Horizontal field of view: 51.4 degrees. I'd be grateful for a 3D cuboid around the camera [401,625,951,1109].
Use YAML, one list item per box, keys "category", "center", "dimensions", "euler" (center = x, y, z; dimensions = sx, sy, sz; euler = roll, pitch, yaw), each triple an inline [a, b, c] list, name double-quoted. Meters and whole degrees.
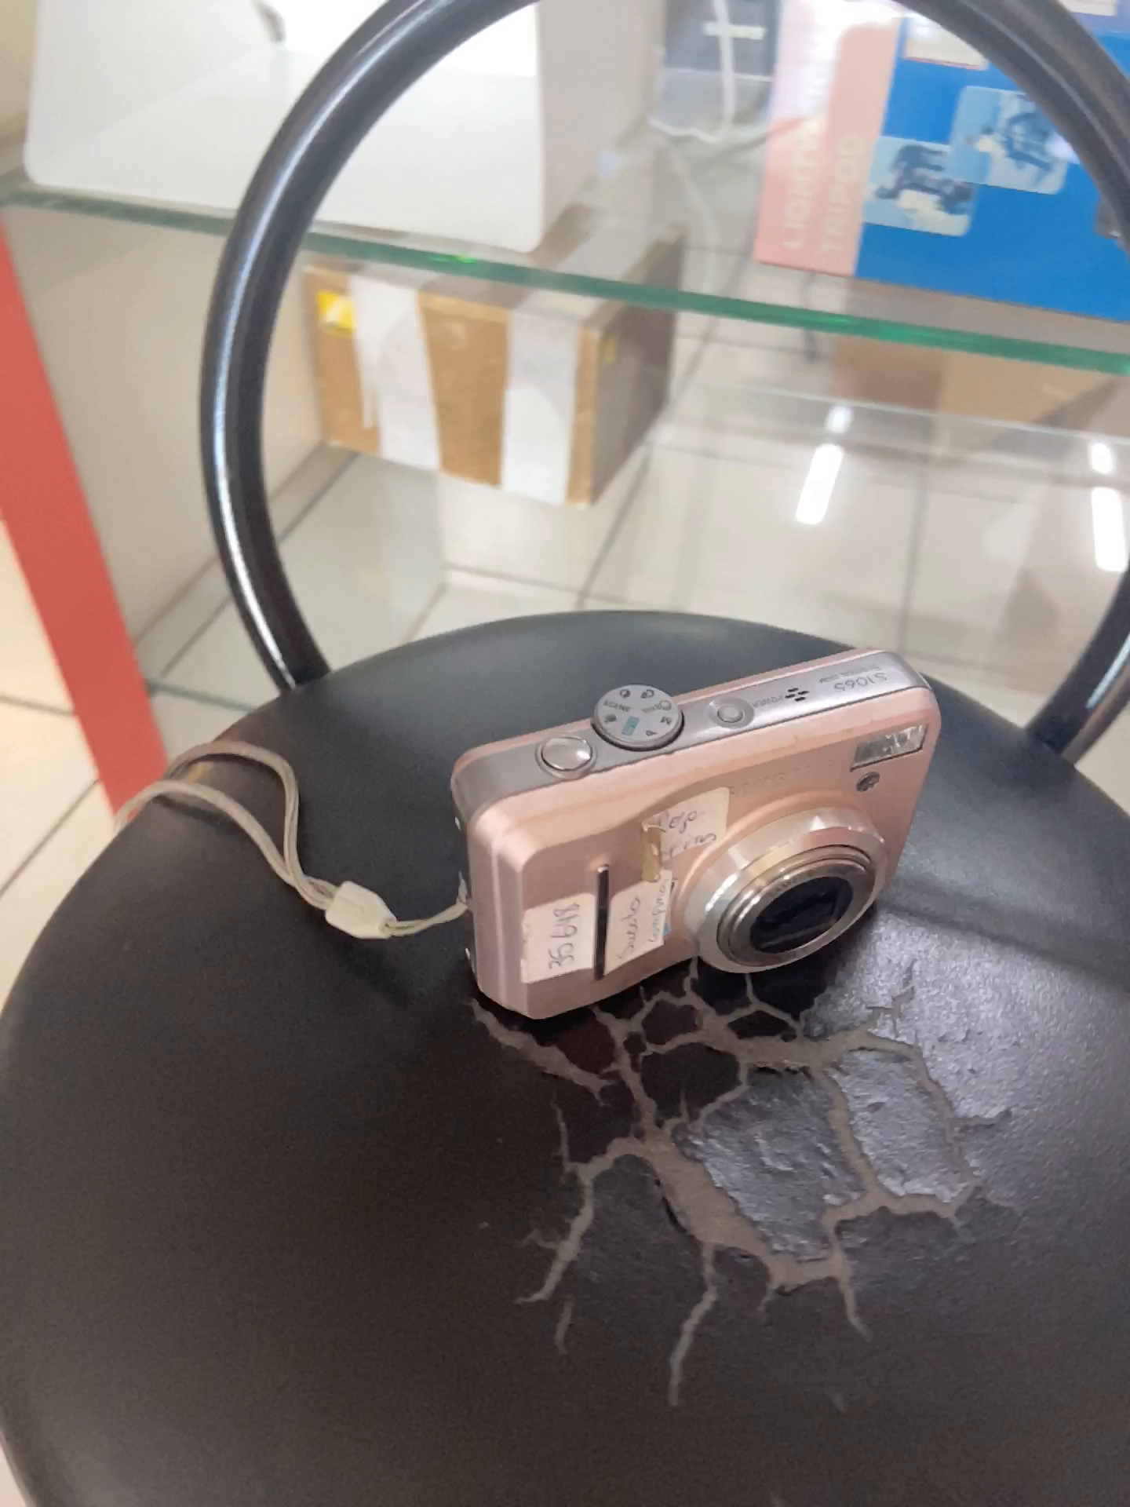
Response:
- category: "camera"
  center: [0.022, 0.023, 0.252]
  dimensions: [0.100, 0.070, 0.040]
  euler: [-16, 45, -18]
